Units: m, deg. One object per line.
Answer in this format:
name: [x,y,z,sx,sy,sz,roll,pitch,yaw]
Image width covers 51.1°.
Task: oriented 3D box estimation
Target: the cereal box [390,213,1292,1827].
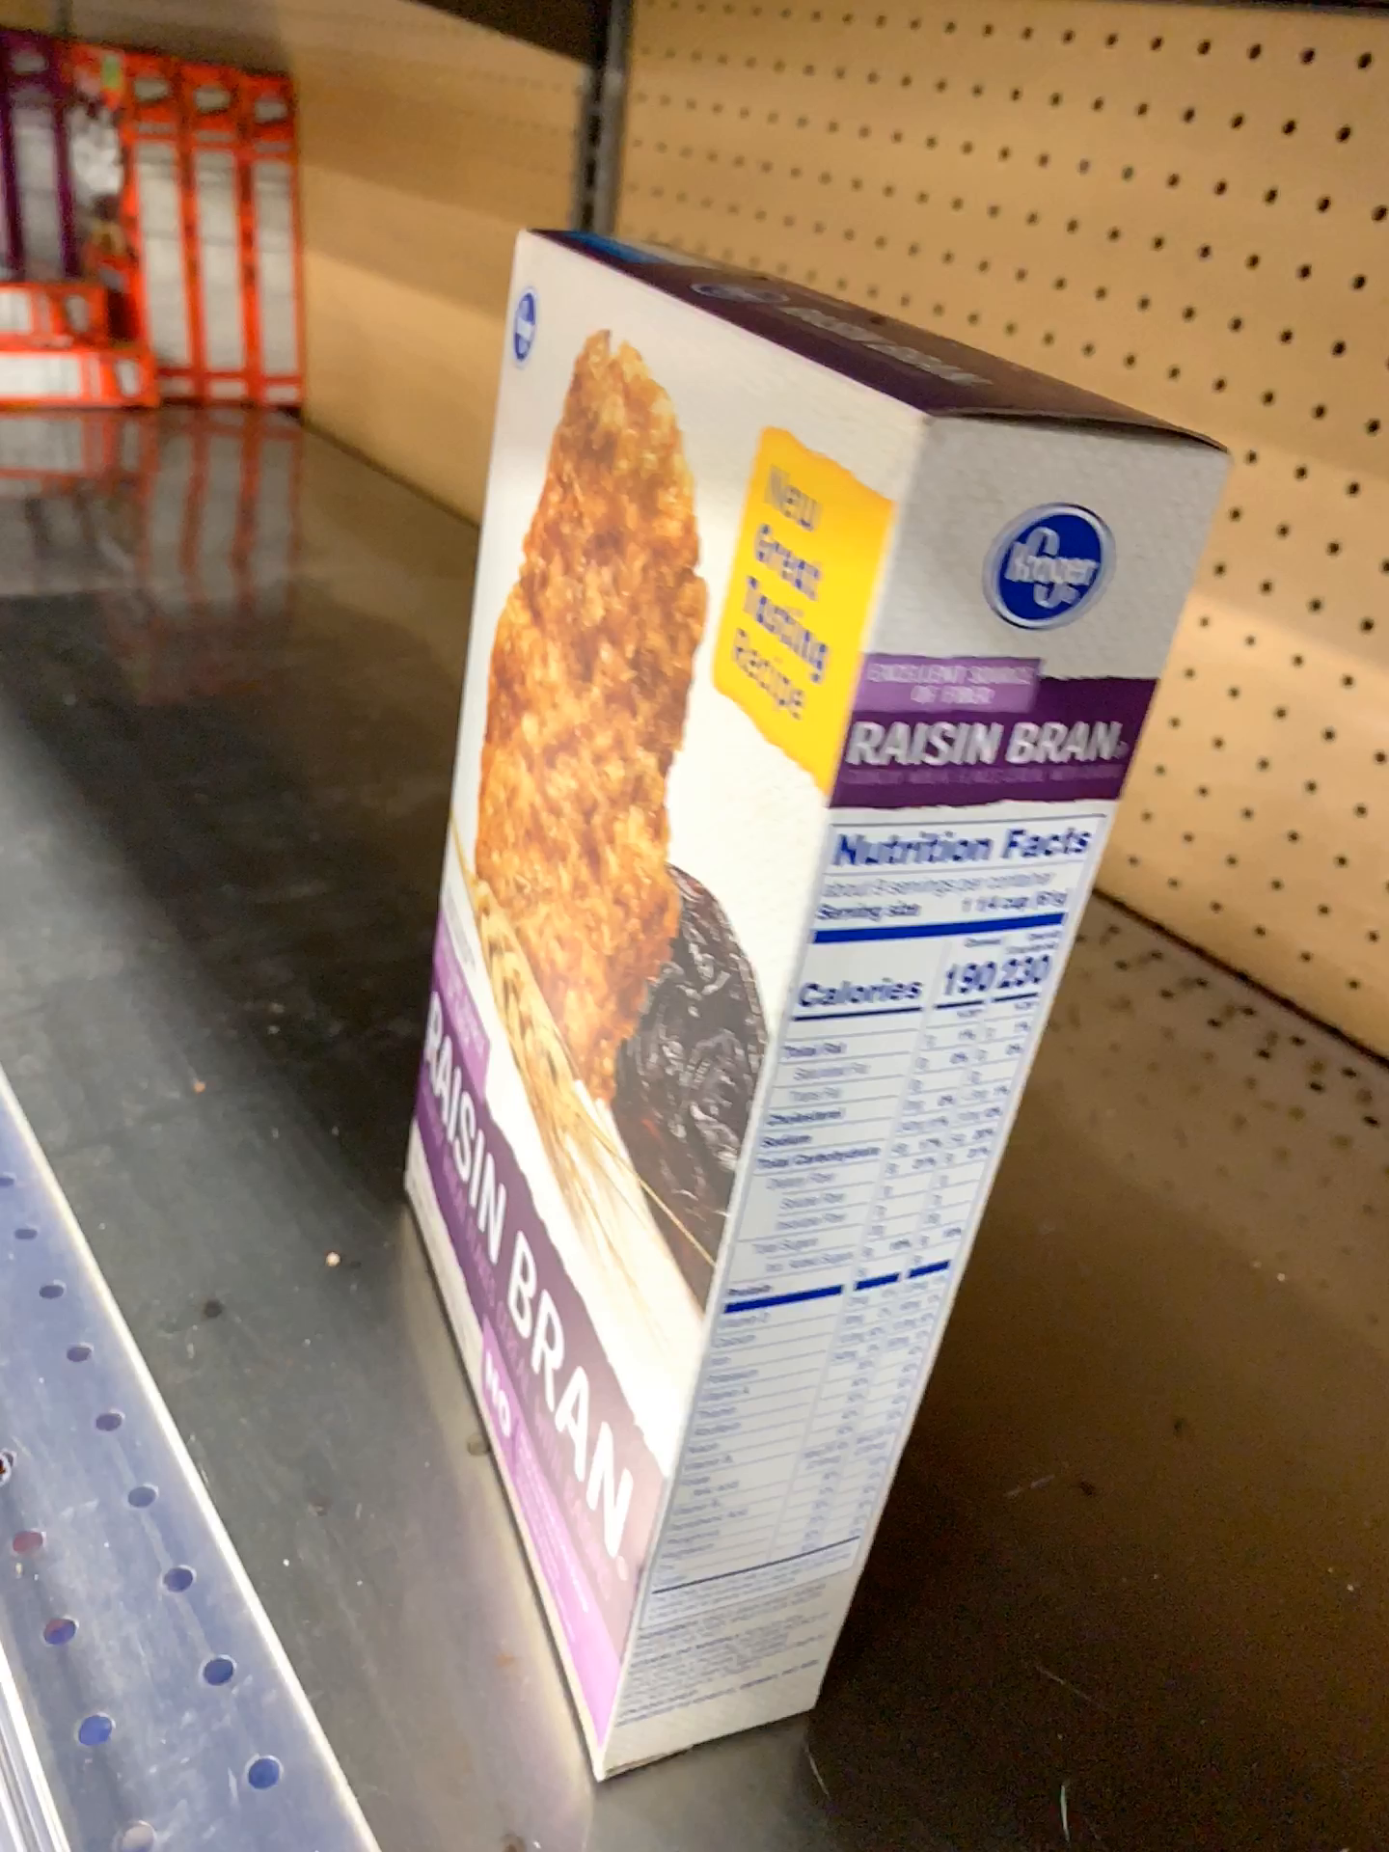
cereal box: [-0.008,0.012,0.307,0.050,0.269,0.191,-3,31,-25]
